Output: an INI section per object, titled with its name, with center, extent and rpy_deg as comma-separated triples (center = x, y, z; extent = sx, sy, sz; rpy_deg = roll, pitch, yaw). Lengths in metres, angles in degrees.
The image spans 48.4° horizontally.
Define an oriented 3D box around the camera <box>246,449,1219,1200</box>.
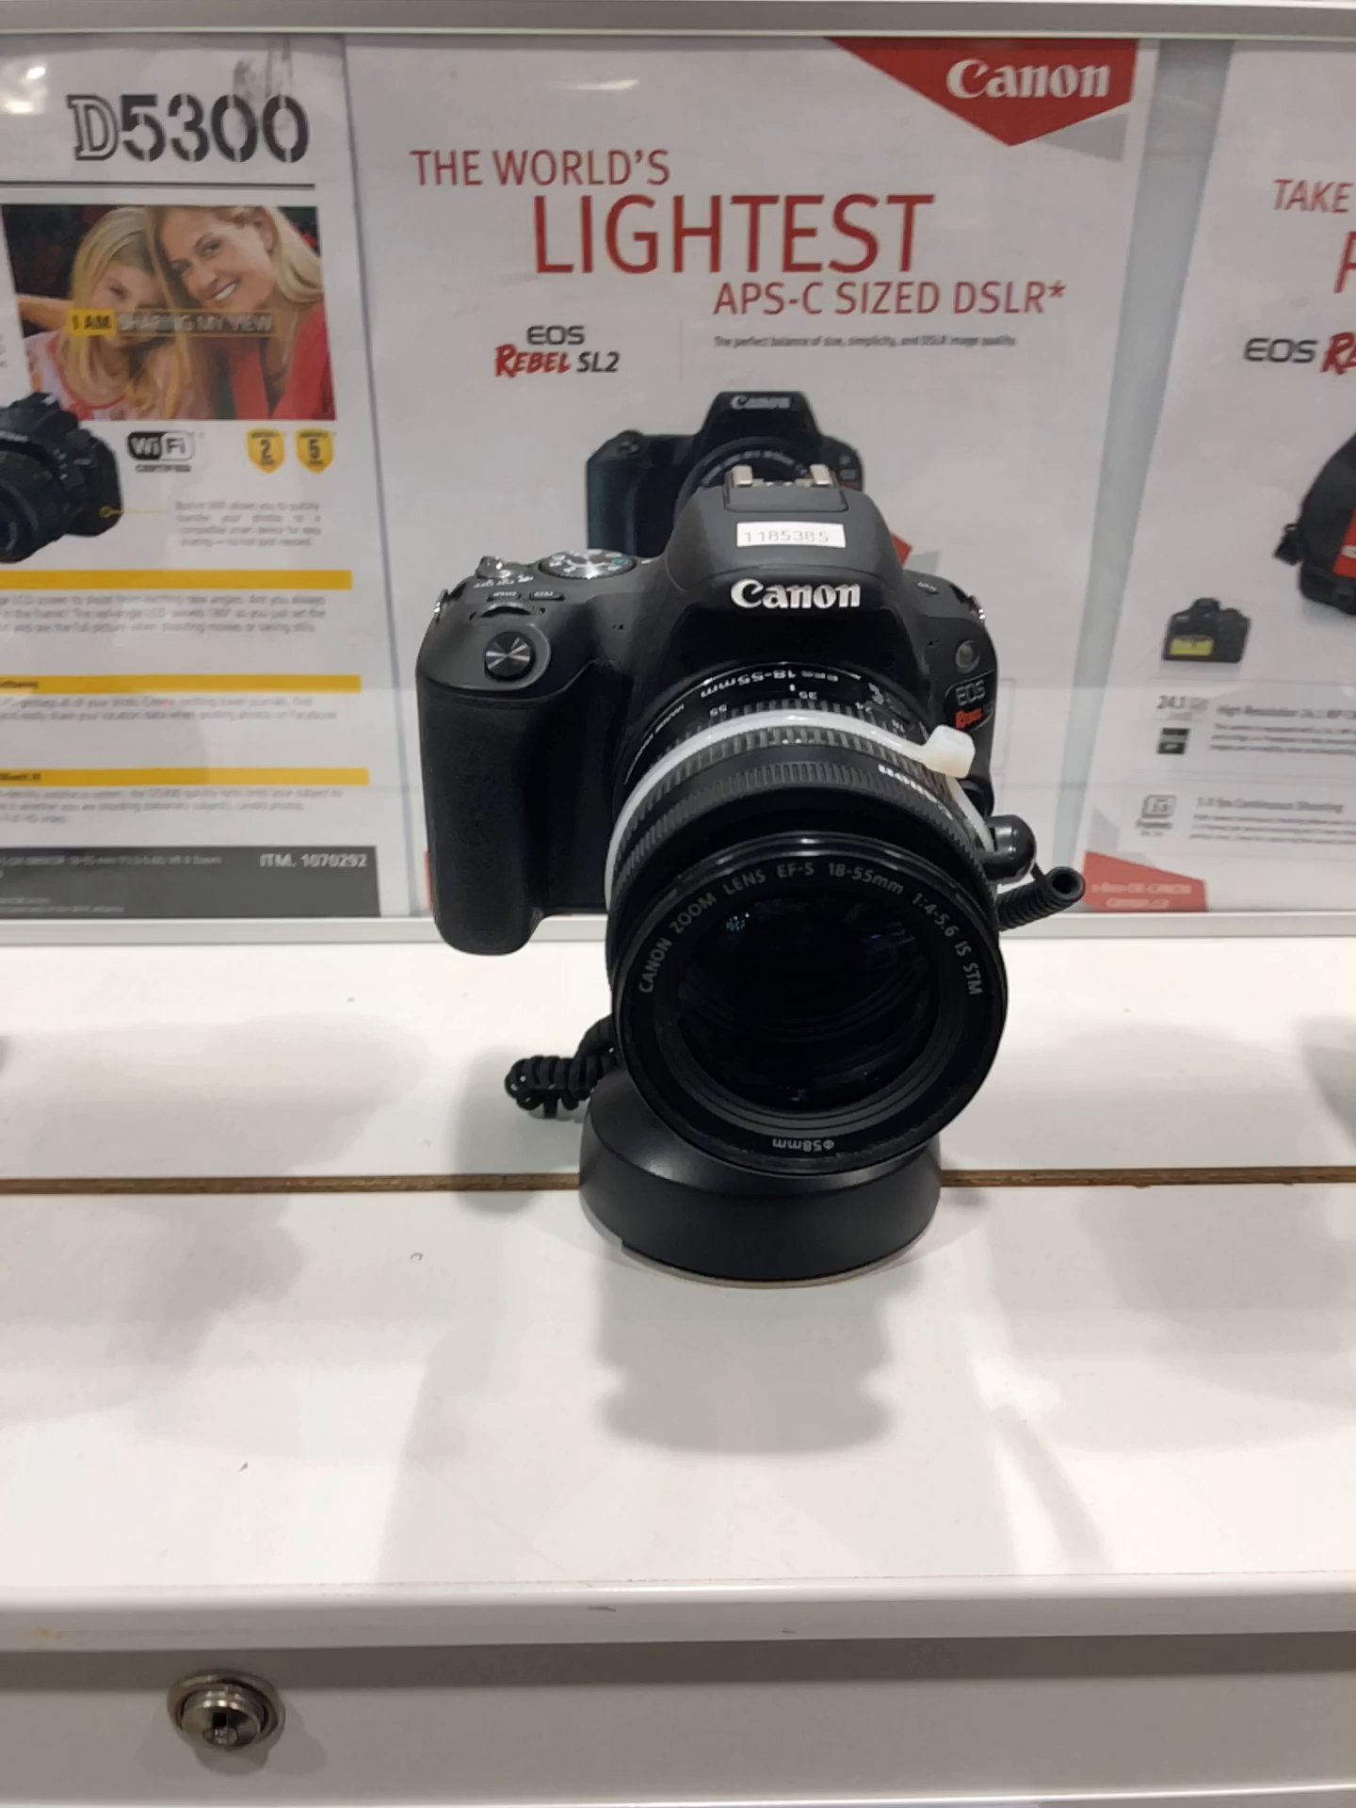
[camera]
center = 0.005, -0.026, 0.284
extent = 0.130, 0.090, 0.141
rpy_deg = -1, 27, -3
